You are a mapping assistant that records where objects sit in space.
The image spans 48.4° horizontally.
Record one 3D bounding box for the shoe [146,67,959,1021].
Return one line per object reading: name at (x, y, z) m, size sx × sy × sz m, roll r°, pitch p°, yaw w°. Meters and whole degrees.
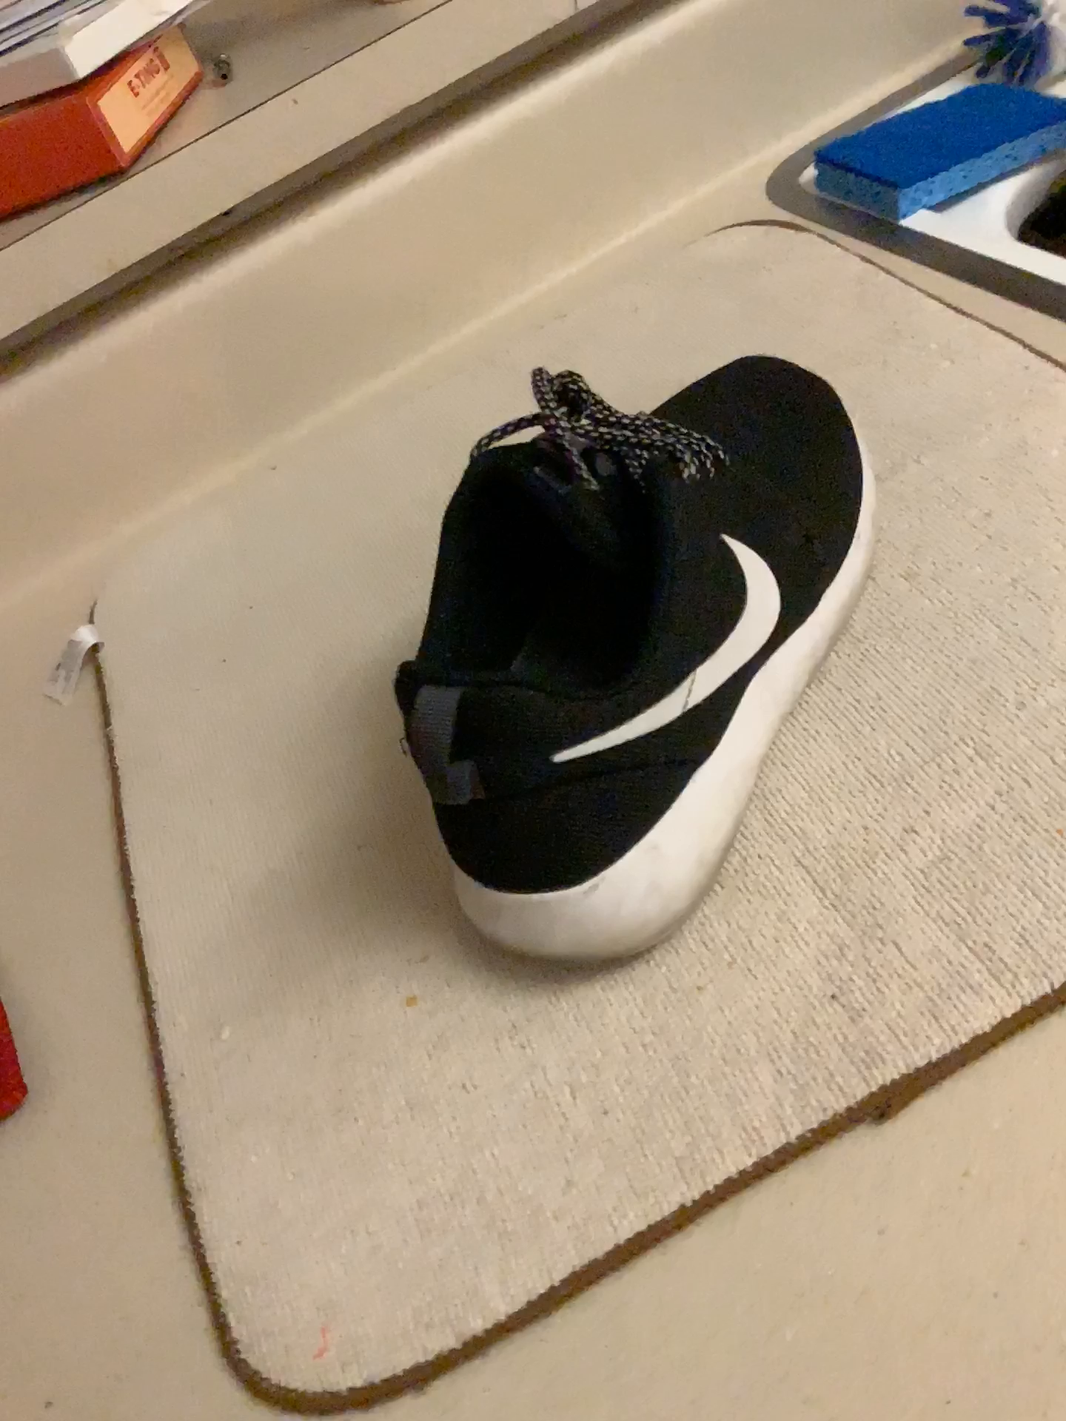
shoe at (0.034, -0.069, 0.379) m, size 0.130 × 0.120 × 0.280 m, roll 7°, pitch 53°, yaw 30°
